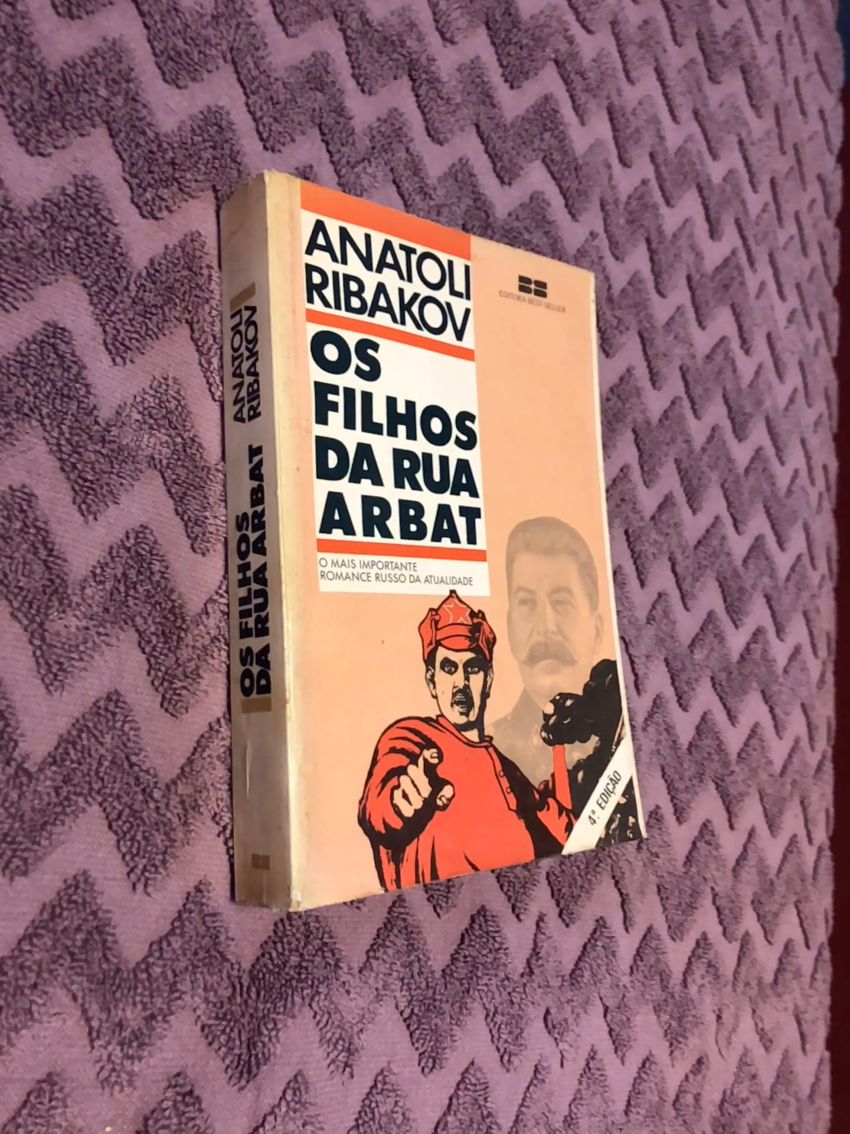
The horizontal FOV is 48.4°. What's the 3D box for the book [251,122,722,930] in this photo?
[{"bbox_3d":[0.024,-0.010,0.280,0.141,0.040,0.190,2,83,-39],"label":"book"}]
